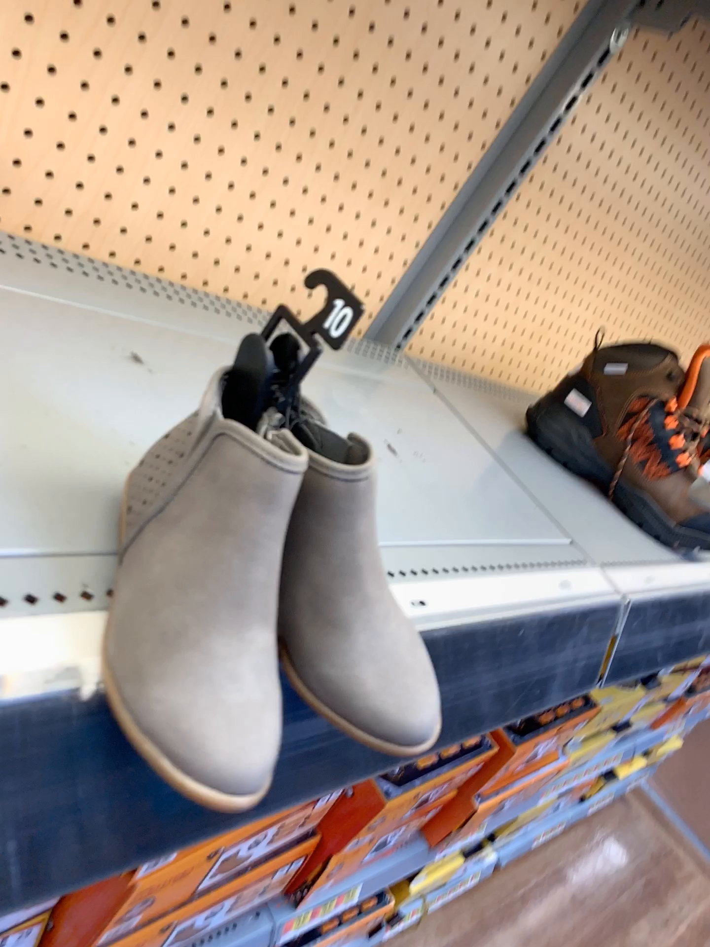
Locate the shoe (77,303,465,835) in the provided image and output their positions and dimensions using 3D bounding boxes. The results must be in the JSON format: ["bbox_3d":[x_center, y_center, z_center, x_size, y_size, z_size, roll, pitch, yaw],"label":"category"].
[{"bbox_3d":[-0.055,0.031,0.319,0.087,0.103,0.197,12,36,-35],"label":"shoe"}]

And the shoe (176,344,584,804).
[{"bbox_3d":[-0.003,0.040,0.360,0.074,0.113,0.186,-15,54,-40],"label":"shoe"}]
